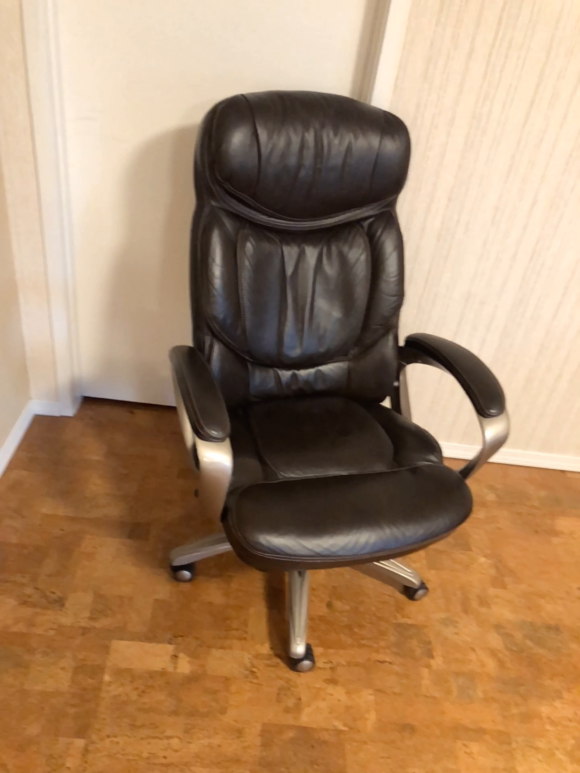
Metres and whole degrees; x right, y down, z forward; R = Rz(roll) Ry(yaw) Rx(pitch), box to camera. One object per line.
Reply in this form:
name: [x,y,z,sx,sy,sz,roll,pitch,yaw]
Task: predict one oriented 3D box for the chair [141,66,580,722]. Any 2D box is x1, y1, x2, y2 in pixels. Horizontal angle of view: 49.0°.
chair: [0.090,0.017,1.340,0.690,1.086,0.652,-6,37,-21]
